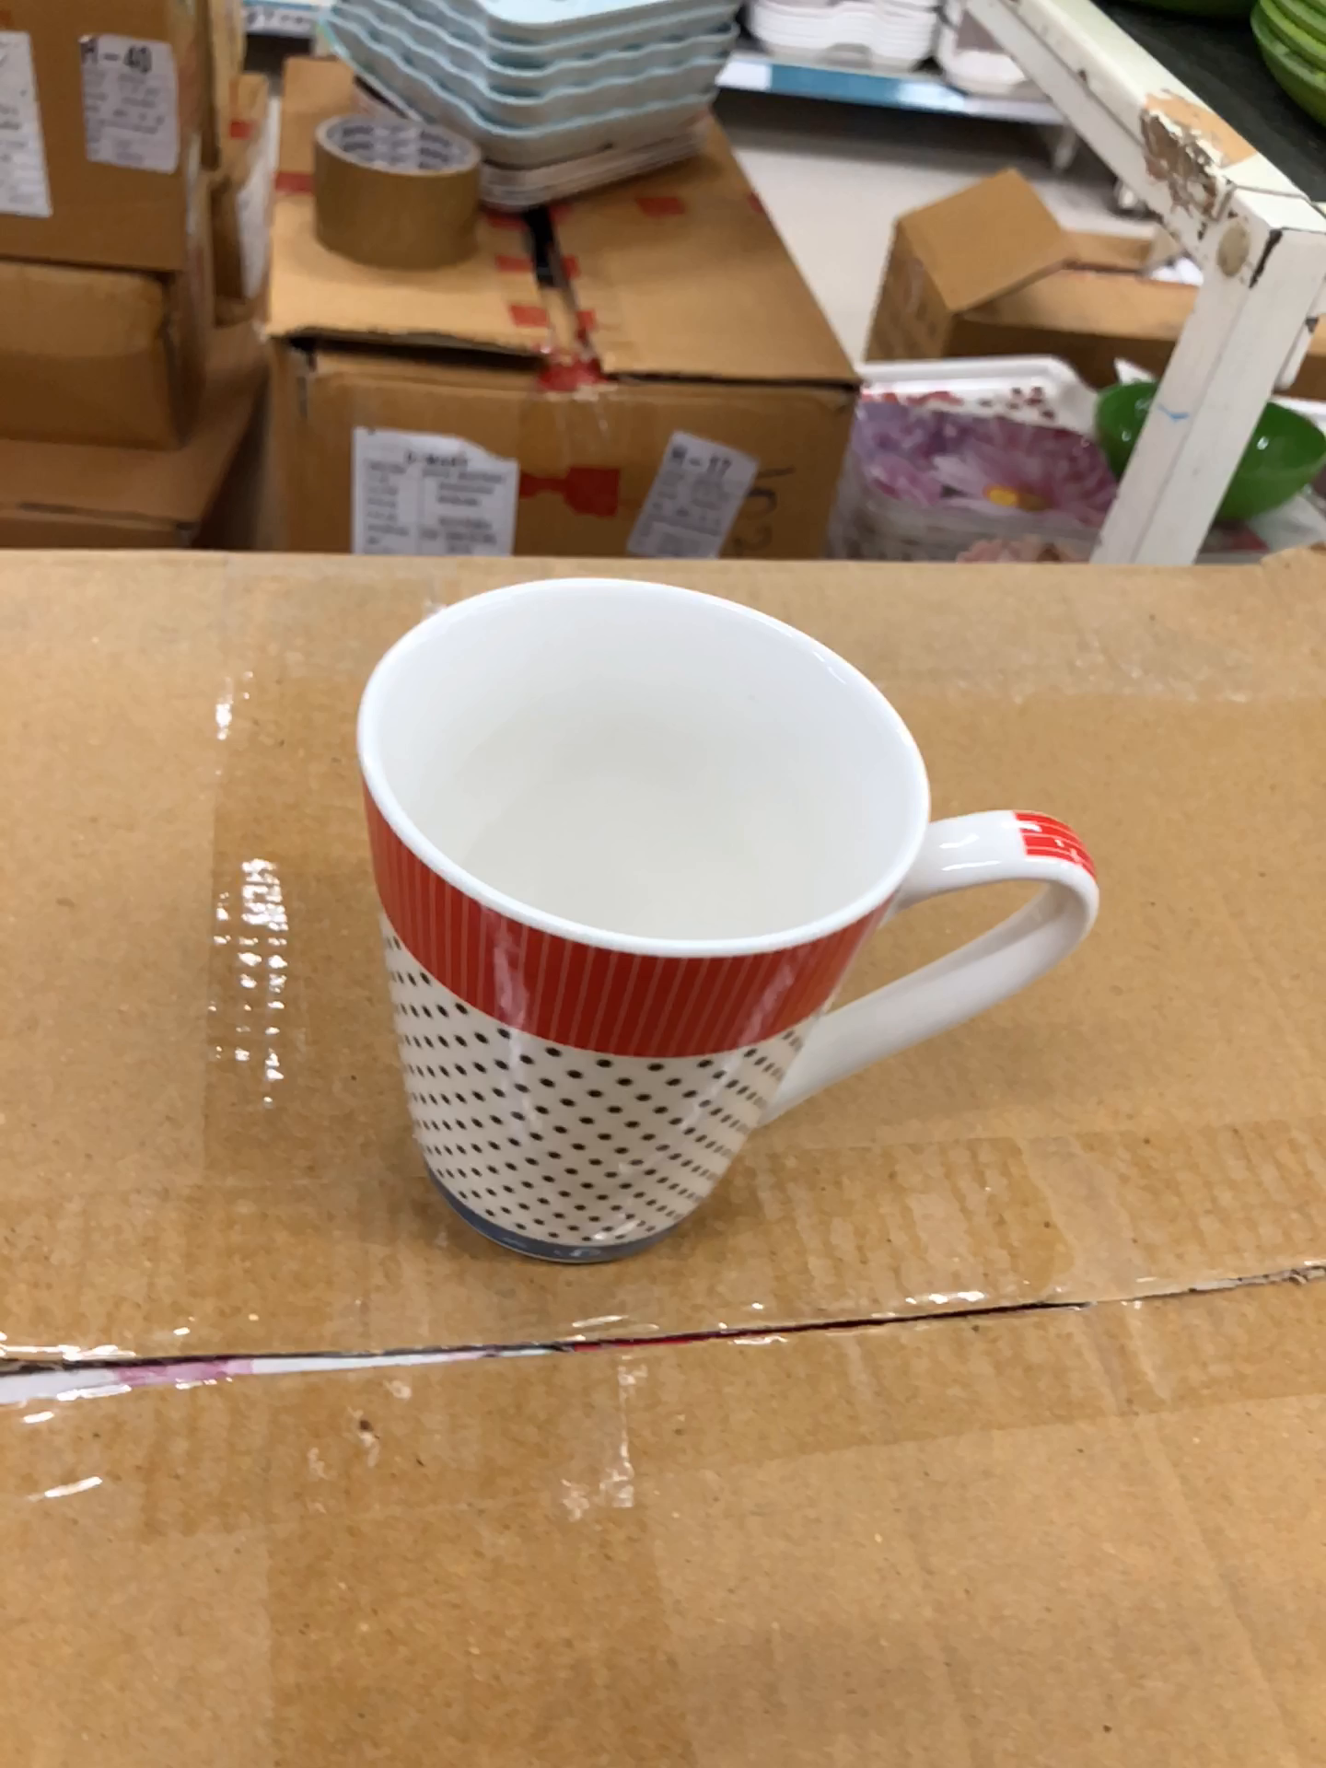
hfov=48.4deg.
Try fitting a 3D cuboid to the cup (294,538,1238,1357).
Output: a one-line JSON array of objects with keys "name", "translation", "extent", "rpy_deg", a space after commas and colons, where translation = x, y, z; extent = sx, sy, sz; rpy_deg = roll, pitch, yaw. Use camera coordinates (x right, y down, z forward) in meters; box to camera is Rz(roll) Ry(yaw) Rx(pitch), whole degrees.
[{"name": "cup", "translation": [0.005, 0.006, 0.249], "extent": [0.120, 0.089, 0.090], "rpy_deg": [-5, 47, -16]}]
